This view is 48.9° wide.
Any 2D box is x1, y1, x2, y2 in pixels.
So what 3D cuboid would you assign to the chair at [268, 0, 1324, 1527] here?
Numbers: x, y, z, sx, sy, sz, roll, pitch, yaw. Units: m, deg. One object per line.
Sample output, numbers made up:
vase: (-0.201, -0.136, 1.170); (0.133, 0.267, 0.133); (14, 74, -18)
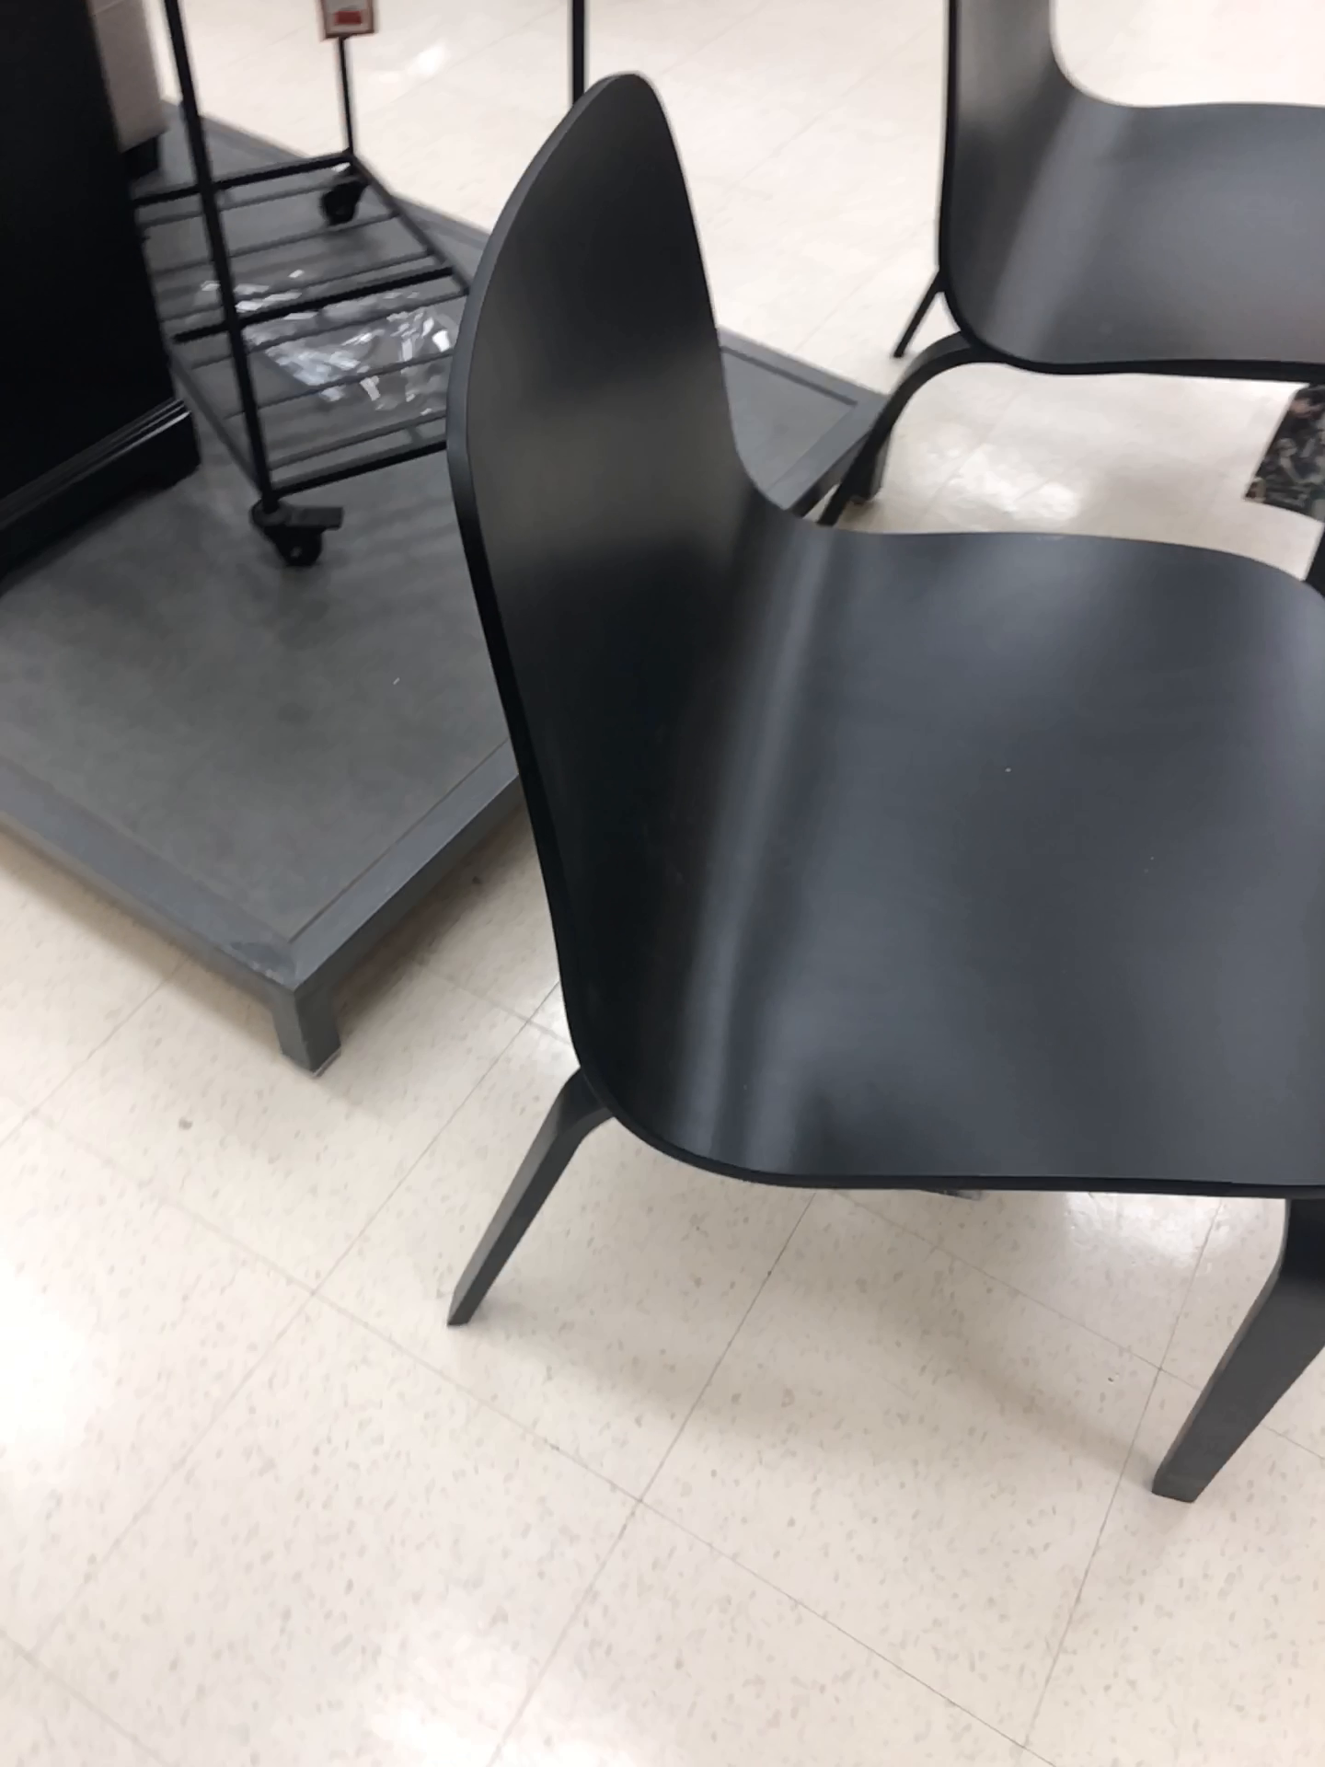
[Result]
chair: (0.202, -0.062, 0.984); (0.630, 0.718, 0.642); (10, 51, 4)
